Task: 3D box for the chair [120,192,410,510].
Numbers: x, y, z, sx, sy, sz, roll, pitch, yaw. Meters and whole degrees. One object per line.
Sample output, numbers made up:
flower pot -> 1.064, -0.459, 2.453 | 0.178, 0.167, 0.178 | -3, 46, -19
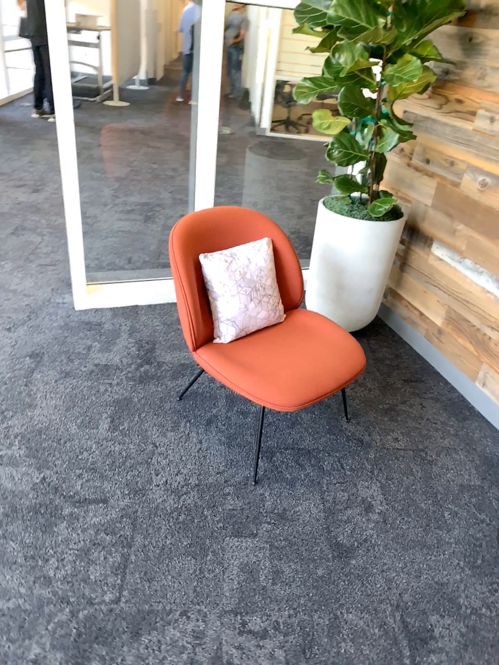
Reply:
chair -> 0.014, 0.003, 1.932 | 0.701, 0.795, 0.703 | -21, 41, -37
